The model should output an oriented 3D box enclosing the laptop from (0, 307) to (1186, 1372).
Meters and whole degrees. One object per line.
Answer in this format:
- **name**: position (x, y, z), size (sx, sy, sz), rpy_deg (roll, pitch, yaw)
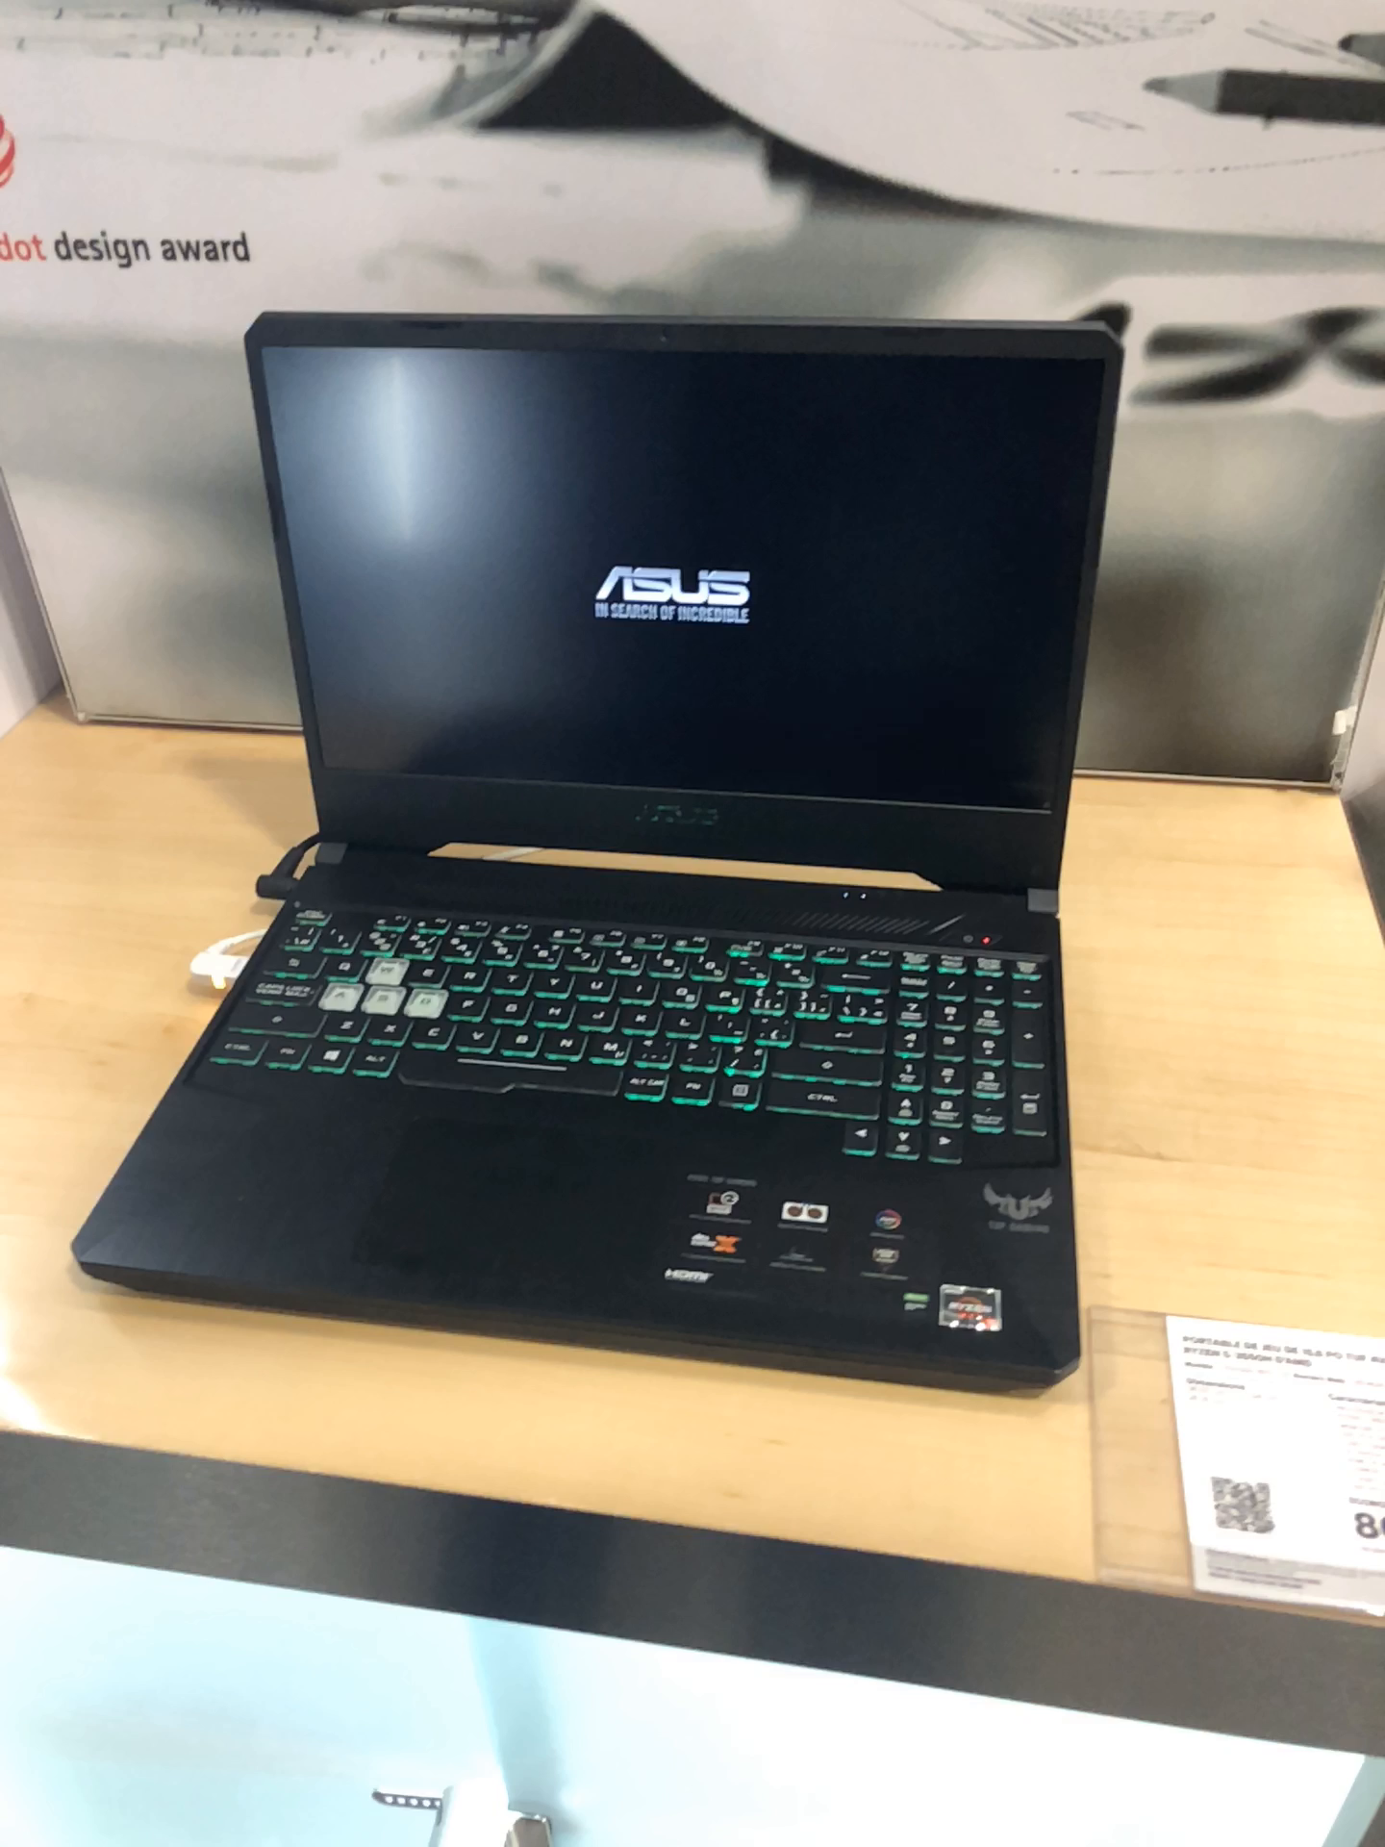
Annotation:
- **laptop**: position (-0.034, -0.057, 0.572), size (0.358, 0.245, 0.310), rpy_deg (4, 38, 8)
